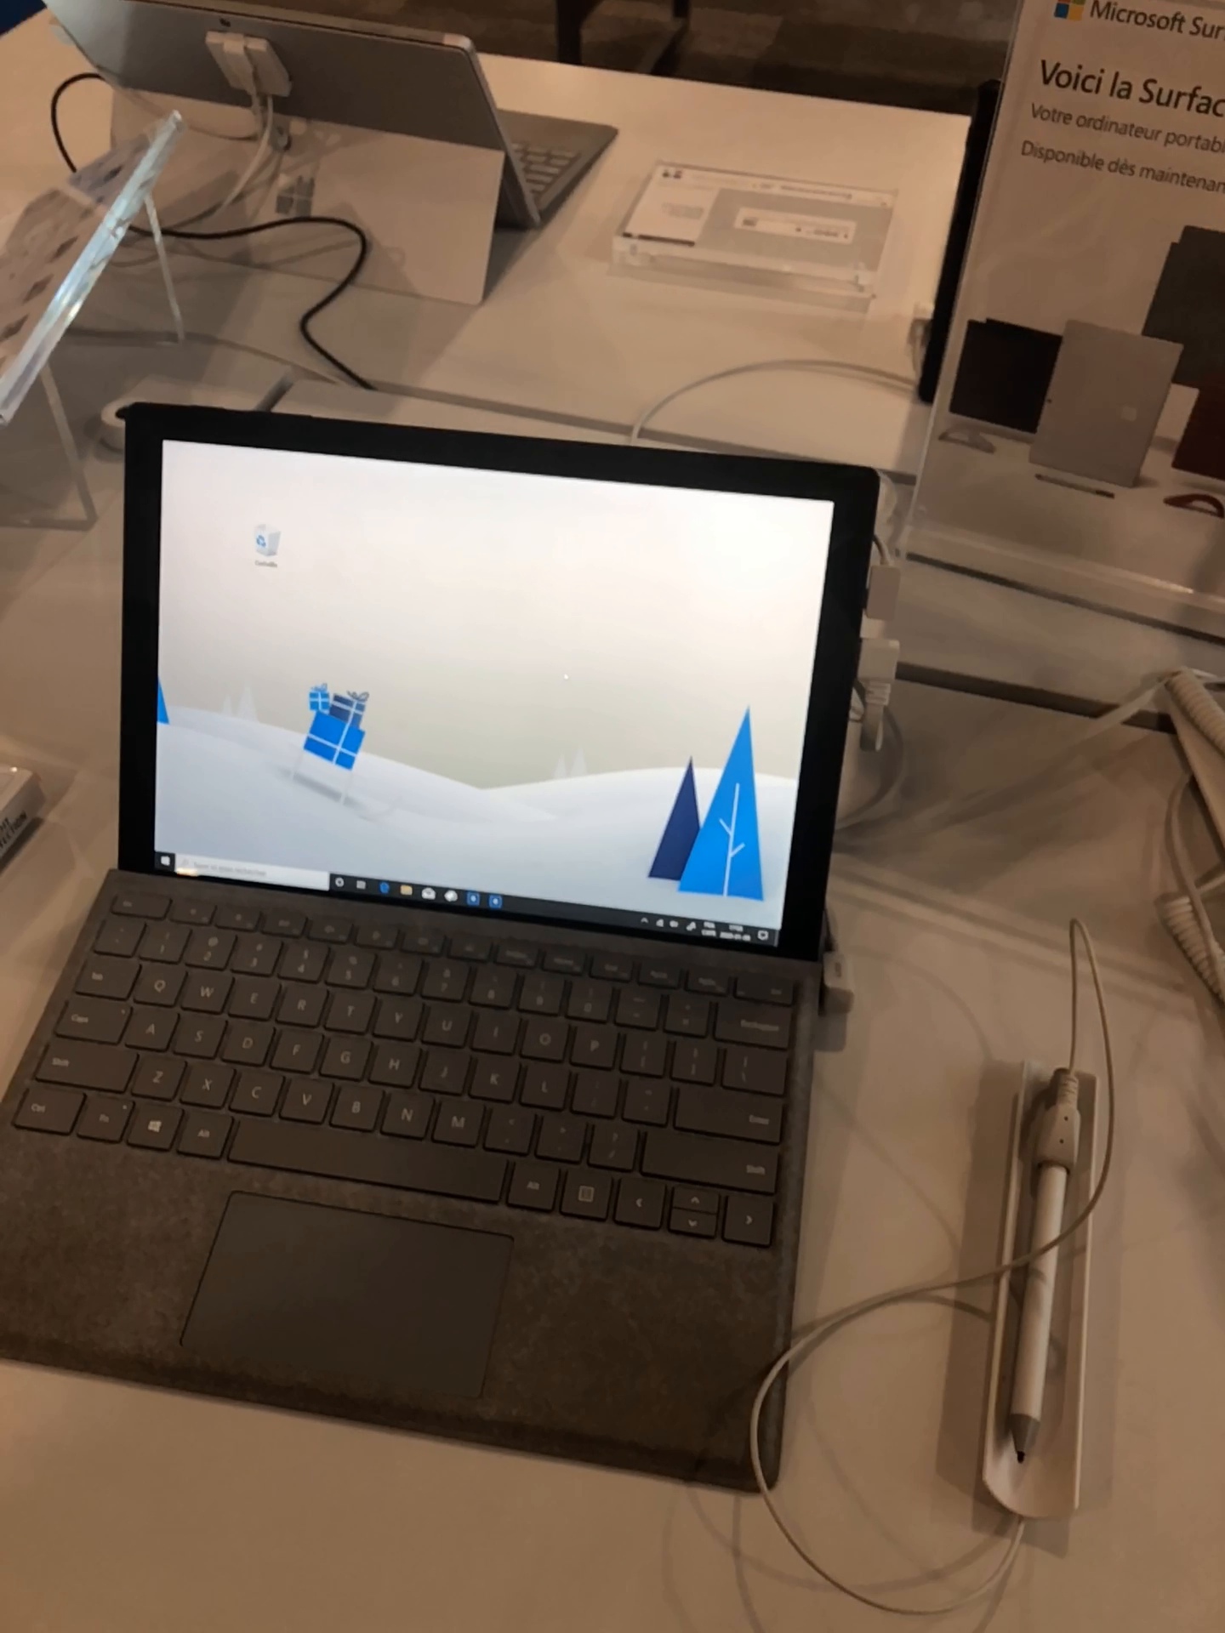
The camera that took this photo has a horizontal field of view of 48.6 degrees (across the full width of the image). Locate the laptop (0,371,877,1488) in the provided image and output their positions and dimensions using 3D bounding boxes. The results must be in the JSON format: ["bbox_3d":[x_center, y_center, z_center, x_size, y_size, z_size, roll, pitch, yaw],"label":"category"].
[{"bbox_3d":[-0.068,0.019,0.472,0.285,0.150,0.308,7,52,5],"label":"laptop"}]
